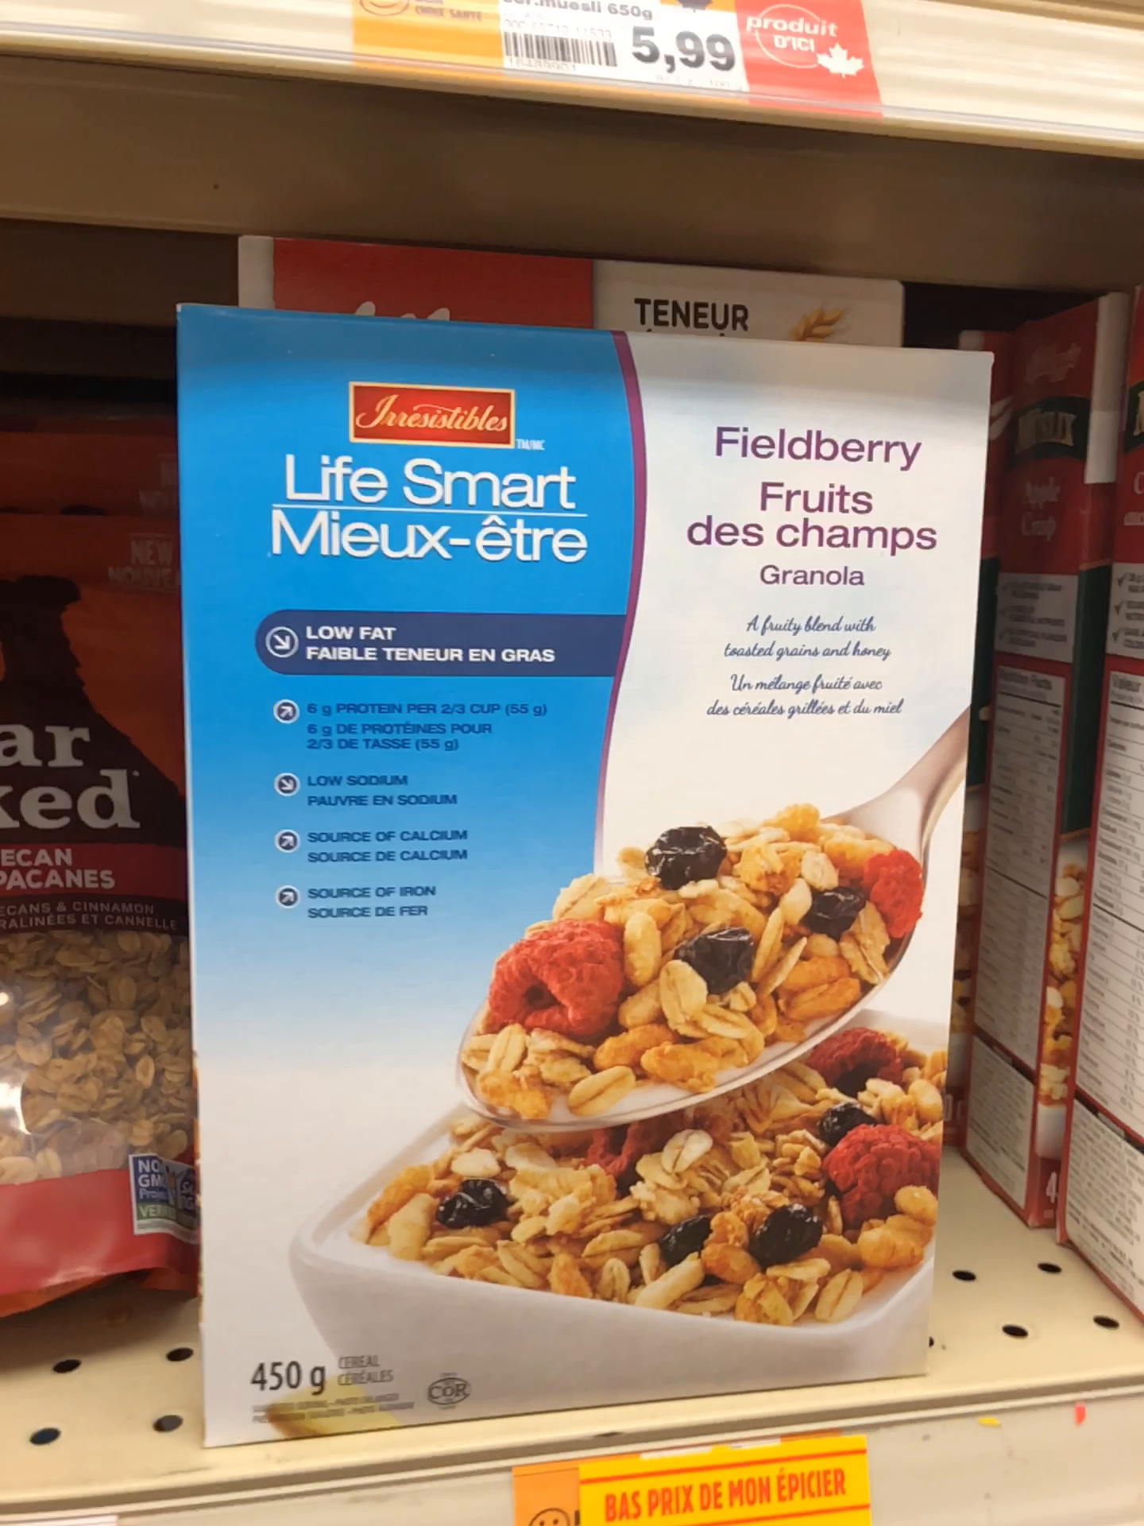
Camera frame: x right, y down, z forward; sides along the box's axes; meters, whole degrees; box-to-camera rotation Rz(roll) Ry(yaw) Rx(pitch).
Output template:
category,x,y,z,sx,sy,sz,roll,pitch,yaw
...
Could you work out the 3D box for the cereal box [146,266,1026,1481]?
category,x,y,z,sx,sy,sz,roll,pitch,yaw
cereal box,0.001,0.025,0.283,0.170,0.239,0.050,0,9,-10
